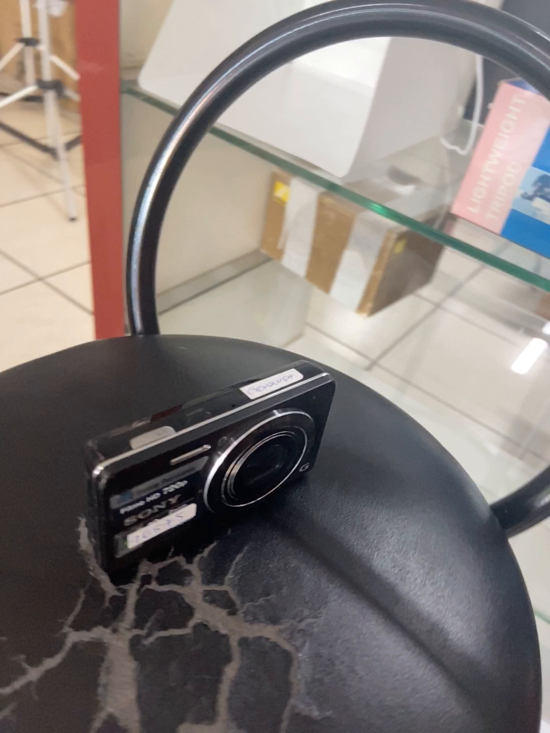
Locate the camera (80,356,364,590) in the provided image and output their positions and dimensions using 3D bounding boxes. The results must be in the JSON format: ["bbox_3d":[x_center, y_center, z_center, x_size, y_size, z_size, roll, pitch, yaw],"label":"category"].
[{"bbox_3d":[-0.017,0.035,0.206,0.097,0.051,0.024,-18,47,-32],"label":"camera"}]
